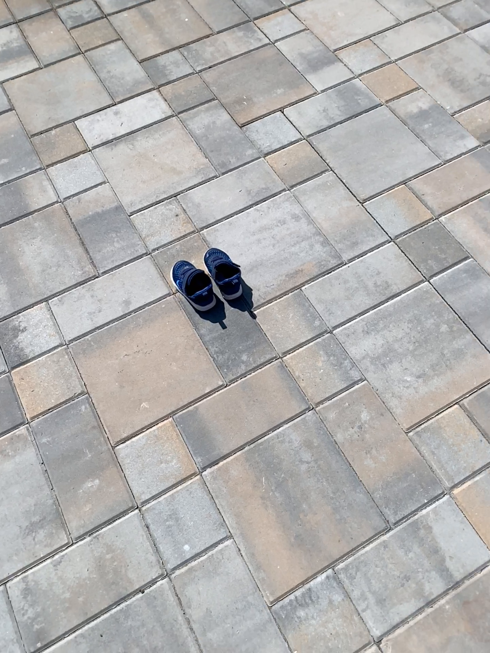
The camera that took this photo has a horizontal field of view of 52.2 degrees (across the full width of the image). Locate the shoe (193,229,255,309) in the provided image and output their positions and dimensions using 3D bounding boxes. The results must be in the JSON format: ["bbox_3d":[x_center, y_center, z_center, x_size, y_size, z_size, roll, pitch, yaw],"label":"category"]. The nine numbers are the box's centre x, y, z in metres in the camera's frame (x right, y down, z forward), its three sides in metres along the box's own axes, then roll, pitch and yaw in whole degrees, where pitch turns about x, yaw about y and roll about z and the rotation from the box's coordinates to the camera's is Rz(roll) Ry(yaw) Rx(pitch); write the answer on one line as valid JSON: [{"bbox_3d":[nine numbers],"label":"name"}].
[{"bbox_3d":[-0.055,-0.153,1.327,0.090,0.090,0.170,-26,66,-12],"label":"shoe"}]

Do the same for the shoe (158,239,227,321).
[{"bbox_3d":[-0.134,-0.120,1.287,0.090,0.090,0.170,-32,67,-14],"label":"shoe"}]
